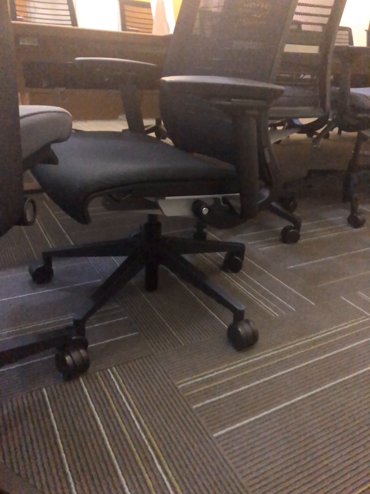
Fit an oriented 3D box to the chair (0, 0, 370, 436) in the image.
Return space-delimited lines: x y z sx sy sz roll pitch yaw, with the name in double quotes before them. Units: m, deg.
"chair" -0.102 -0.269 1.087 0.733 0.993 0.722 -10 25 -28
